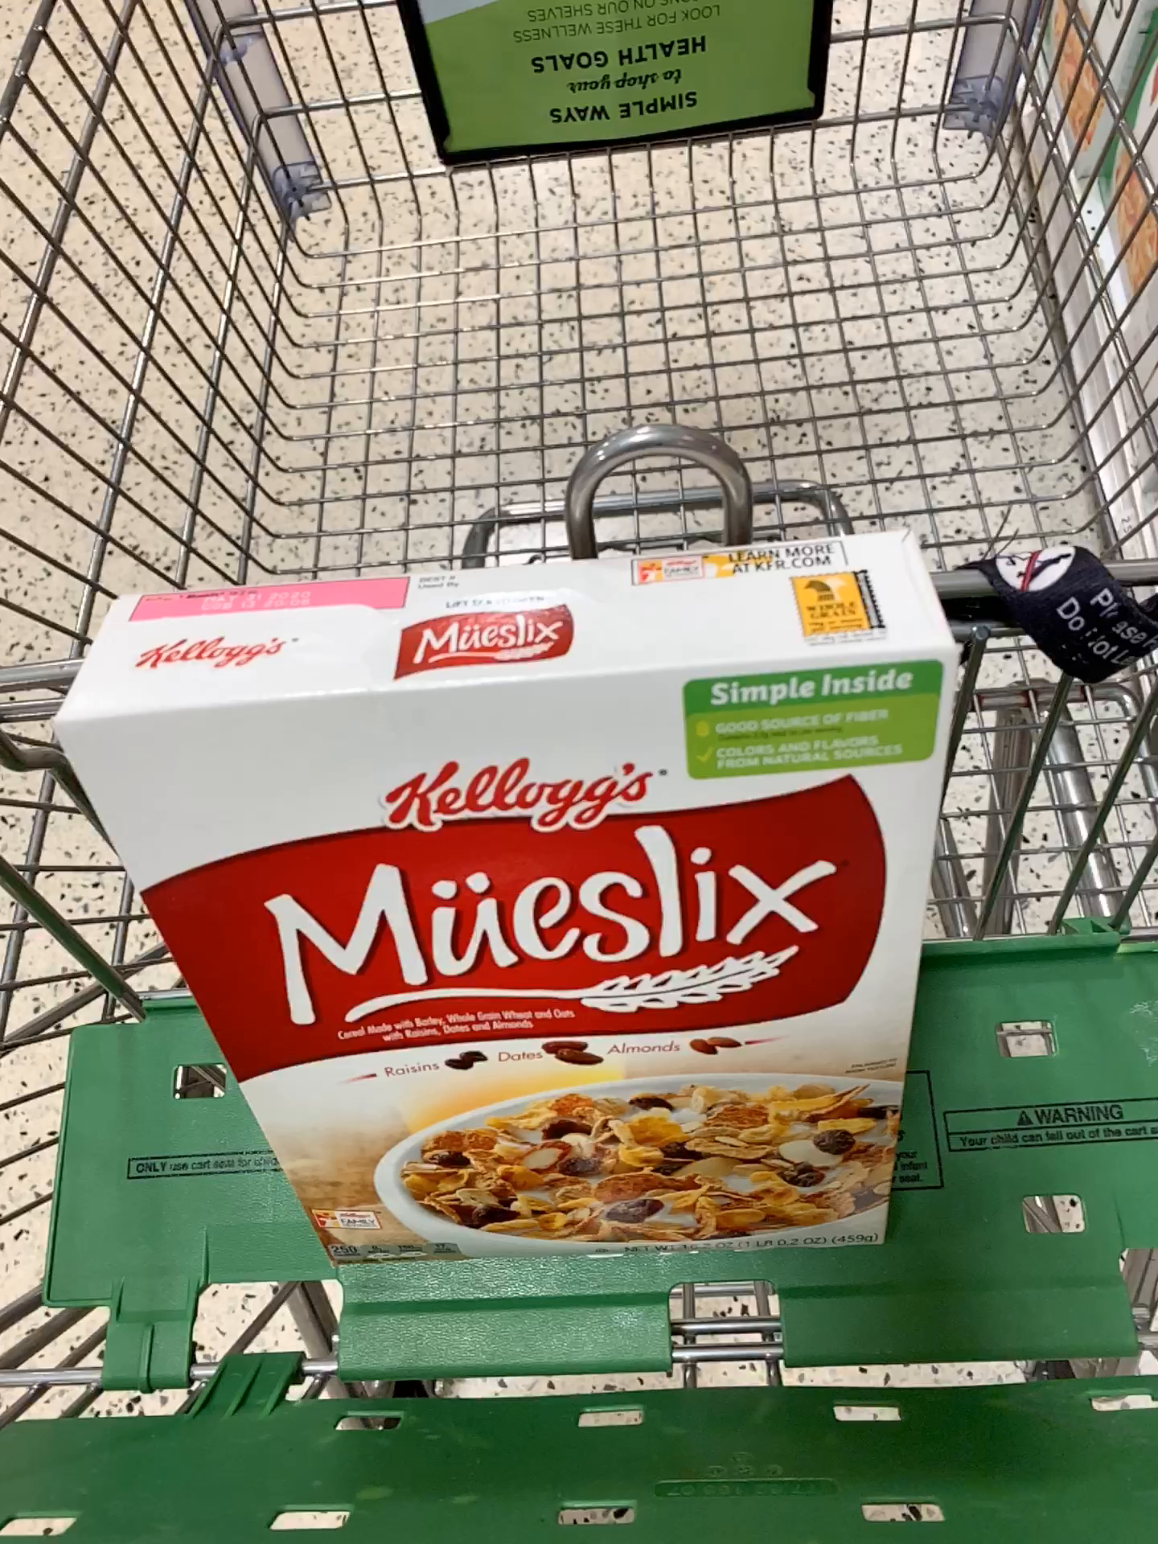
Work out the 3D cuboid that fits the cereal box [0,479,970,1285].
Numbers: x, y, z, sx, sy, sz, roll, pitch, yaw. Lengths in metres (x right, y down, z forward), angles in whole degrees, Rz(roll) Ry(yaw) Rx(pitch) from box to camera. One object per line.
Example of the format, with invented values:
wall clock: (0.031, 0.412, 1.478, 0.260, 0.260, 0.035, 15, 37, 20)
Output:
cereal box: (-0.009, 0.058, 0.352, 0.200, 0.268, 0.060, -4, 42, 4)
